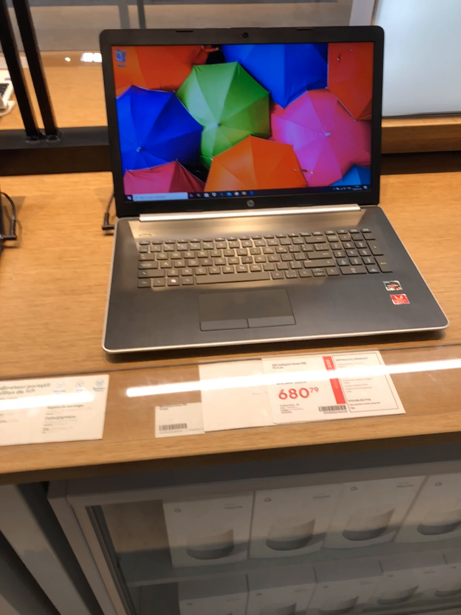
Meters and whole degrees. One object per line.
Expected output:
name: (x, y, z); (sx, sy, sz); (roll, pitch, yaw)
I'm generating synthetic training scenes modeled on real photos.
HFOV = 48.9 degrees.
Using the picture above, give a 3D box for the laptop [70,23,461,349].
laptop: (0.037, -0.188, 0.674); (0.399, 0.217, 0.399); (-4, 46, -5)
